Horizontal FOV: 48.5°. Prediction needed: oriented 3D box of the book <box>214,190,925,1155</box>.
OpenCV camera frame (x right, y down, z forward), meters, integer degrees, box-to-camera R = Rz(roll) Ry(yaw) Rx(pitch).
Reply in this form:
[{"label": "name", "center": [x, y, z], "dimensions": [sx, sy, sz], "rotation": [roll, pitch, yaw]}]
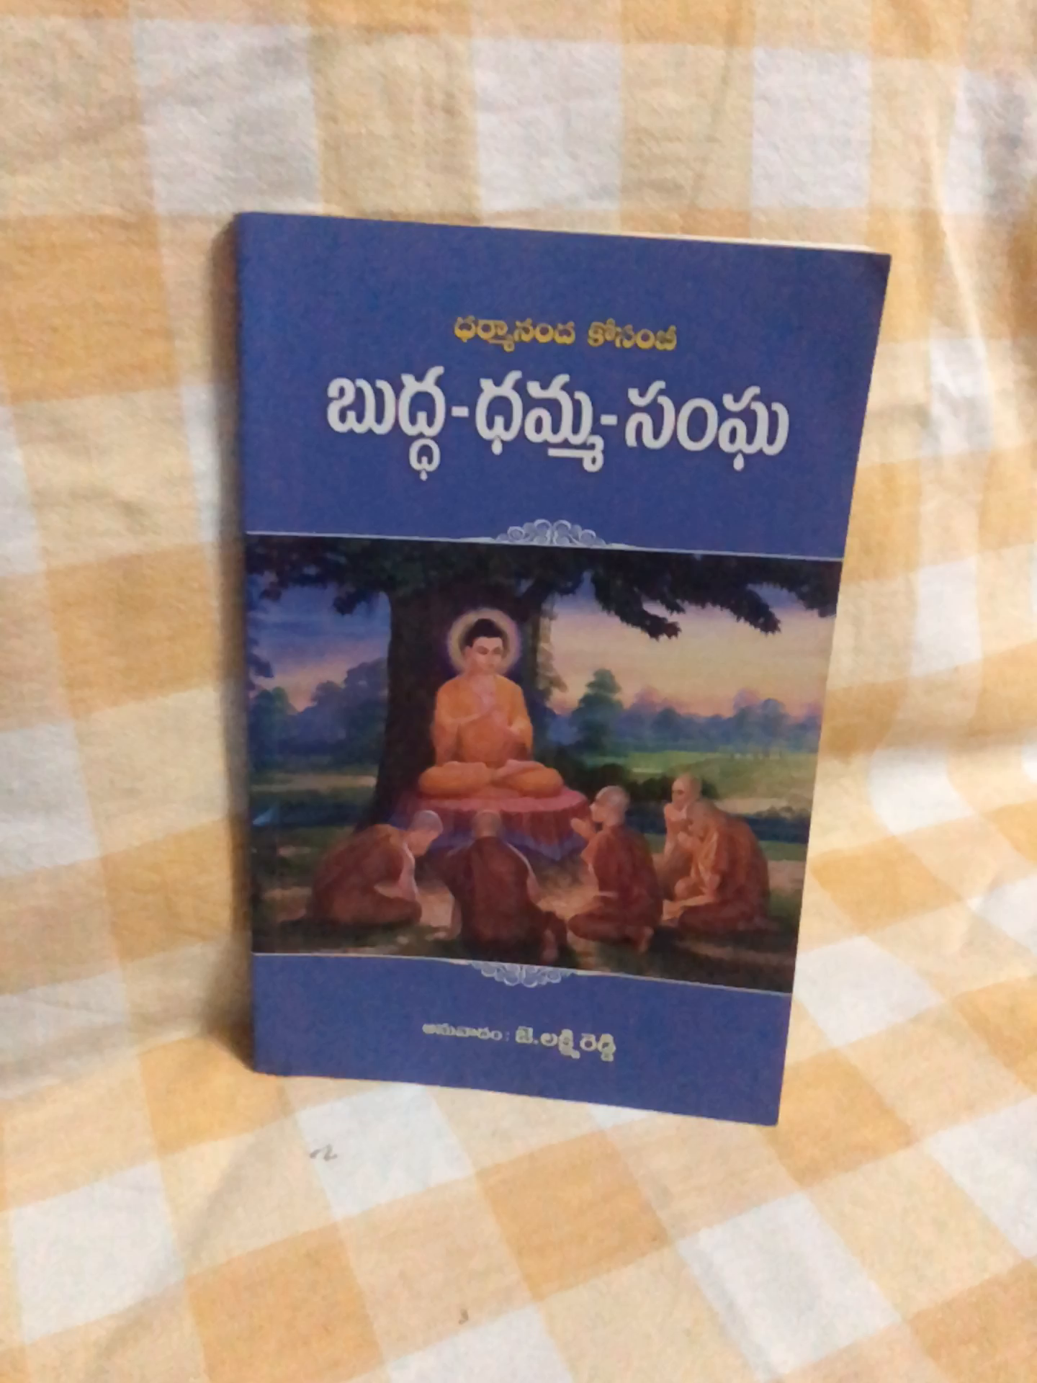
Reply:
[{"label": "book", "center": [0.004, 0.002, 0.278], "dimensions": [0.150, 0.219, 0.020], "rotation": [4, 14, 5]}]
